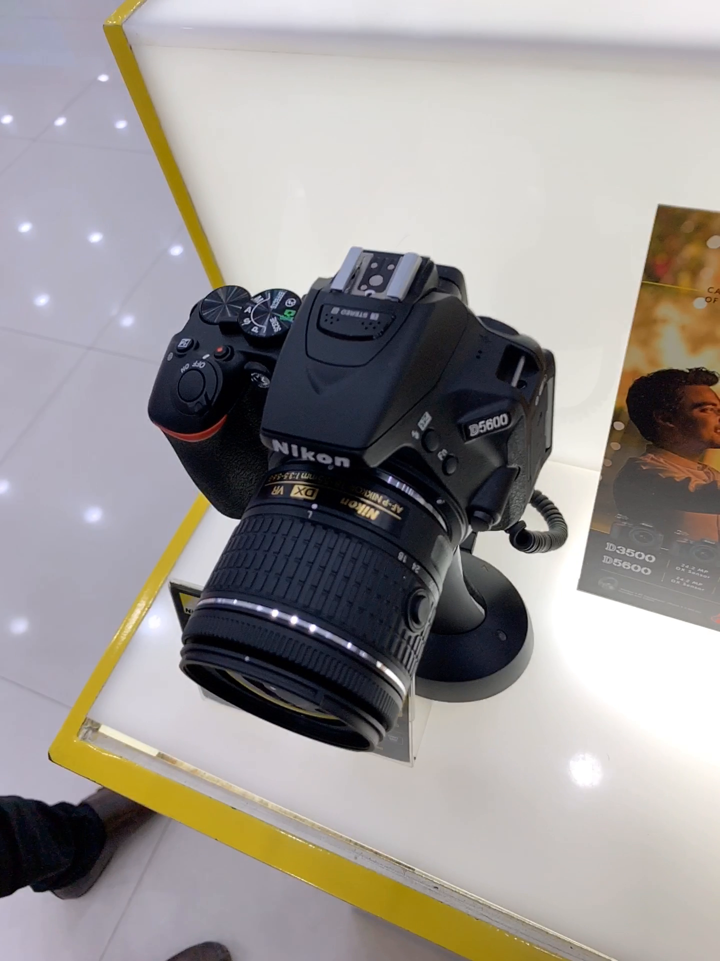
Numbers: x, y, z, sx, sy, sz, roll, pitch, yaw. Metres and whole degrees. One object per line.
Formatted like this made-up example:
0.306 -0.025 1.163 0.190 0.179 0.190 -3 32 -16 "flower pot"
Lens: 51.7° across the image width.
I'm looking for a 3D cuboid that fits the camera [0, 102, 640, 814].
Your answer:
-0.003 -0.017 0.211 0.120 0.090 0.160 12 60 19 "camera"
